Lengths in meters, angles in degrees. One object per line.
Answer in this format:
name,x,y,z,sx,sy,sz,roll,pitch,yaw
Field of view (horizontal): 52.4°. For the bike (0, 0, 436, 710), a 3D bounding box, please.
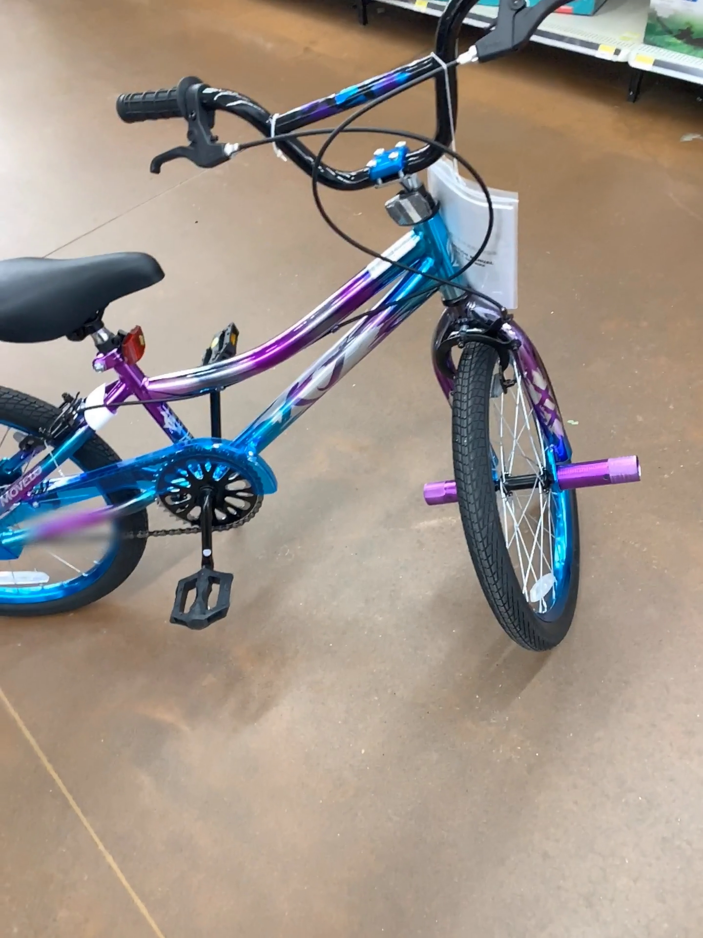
bike,-0.370,-0.165,0.957,0.933,0.931,0.580,-3,50,3
